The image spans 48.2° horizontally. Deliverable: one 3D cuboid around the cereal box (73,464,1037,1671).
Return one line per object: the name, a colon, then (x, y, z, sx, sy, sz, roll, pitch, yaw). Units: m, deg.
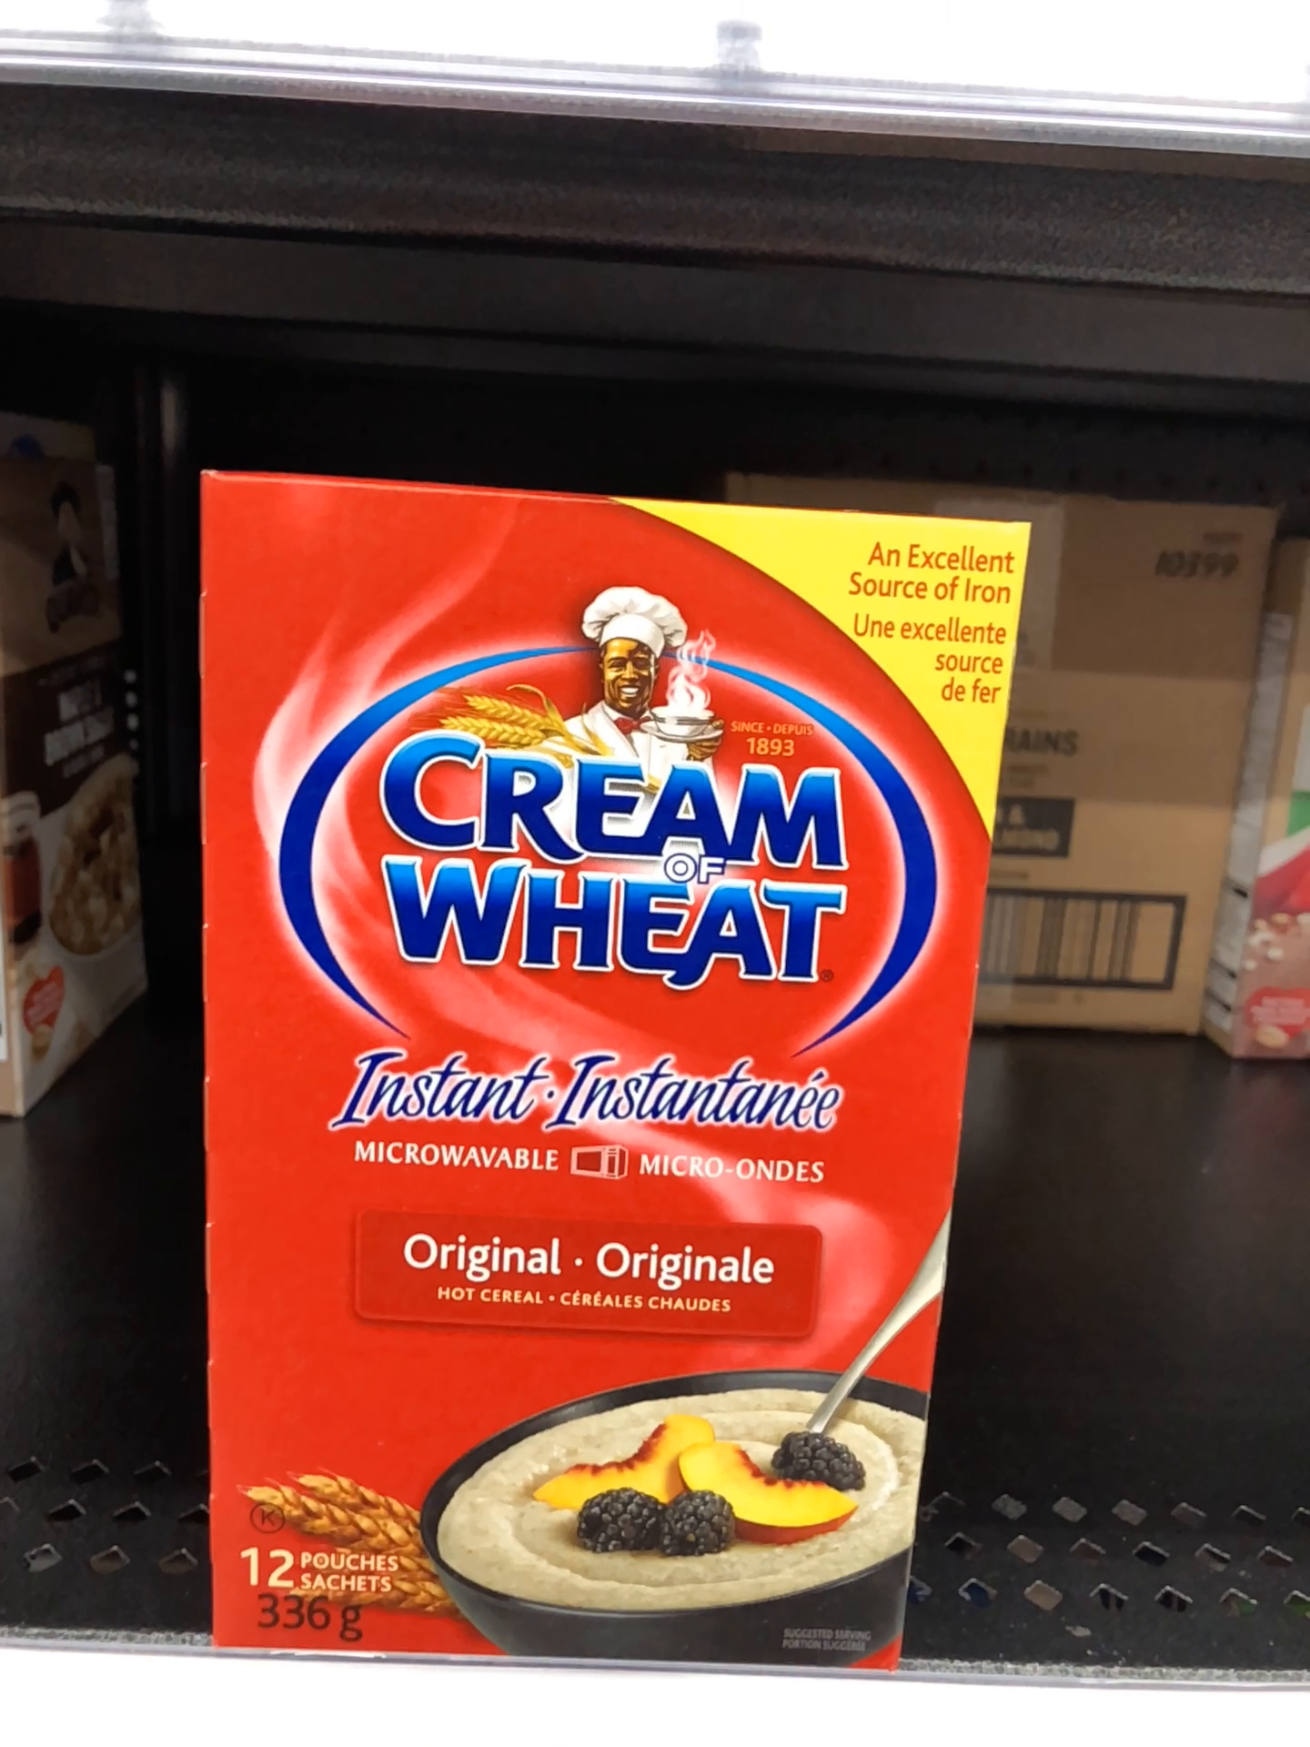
cereal box: (-0.019, 0.032, 0.250, 0.130, 0.189, 0.060, 3, 15, -2)
